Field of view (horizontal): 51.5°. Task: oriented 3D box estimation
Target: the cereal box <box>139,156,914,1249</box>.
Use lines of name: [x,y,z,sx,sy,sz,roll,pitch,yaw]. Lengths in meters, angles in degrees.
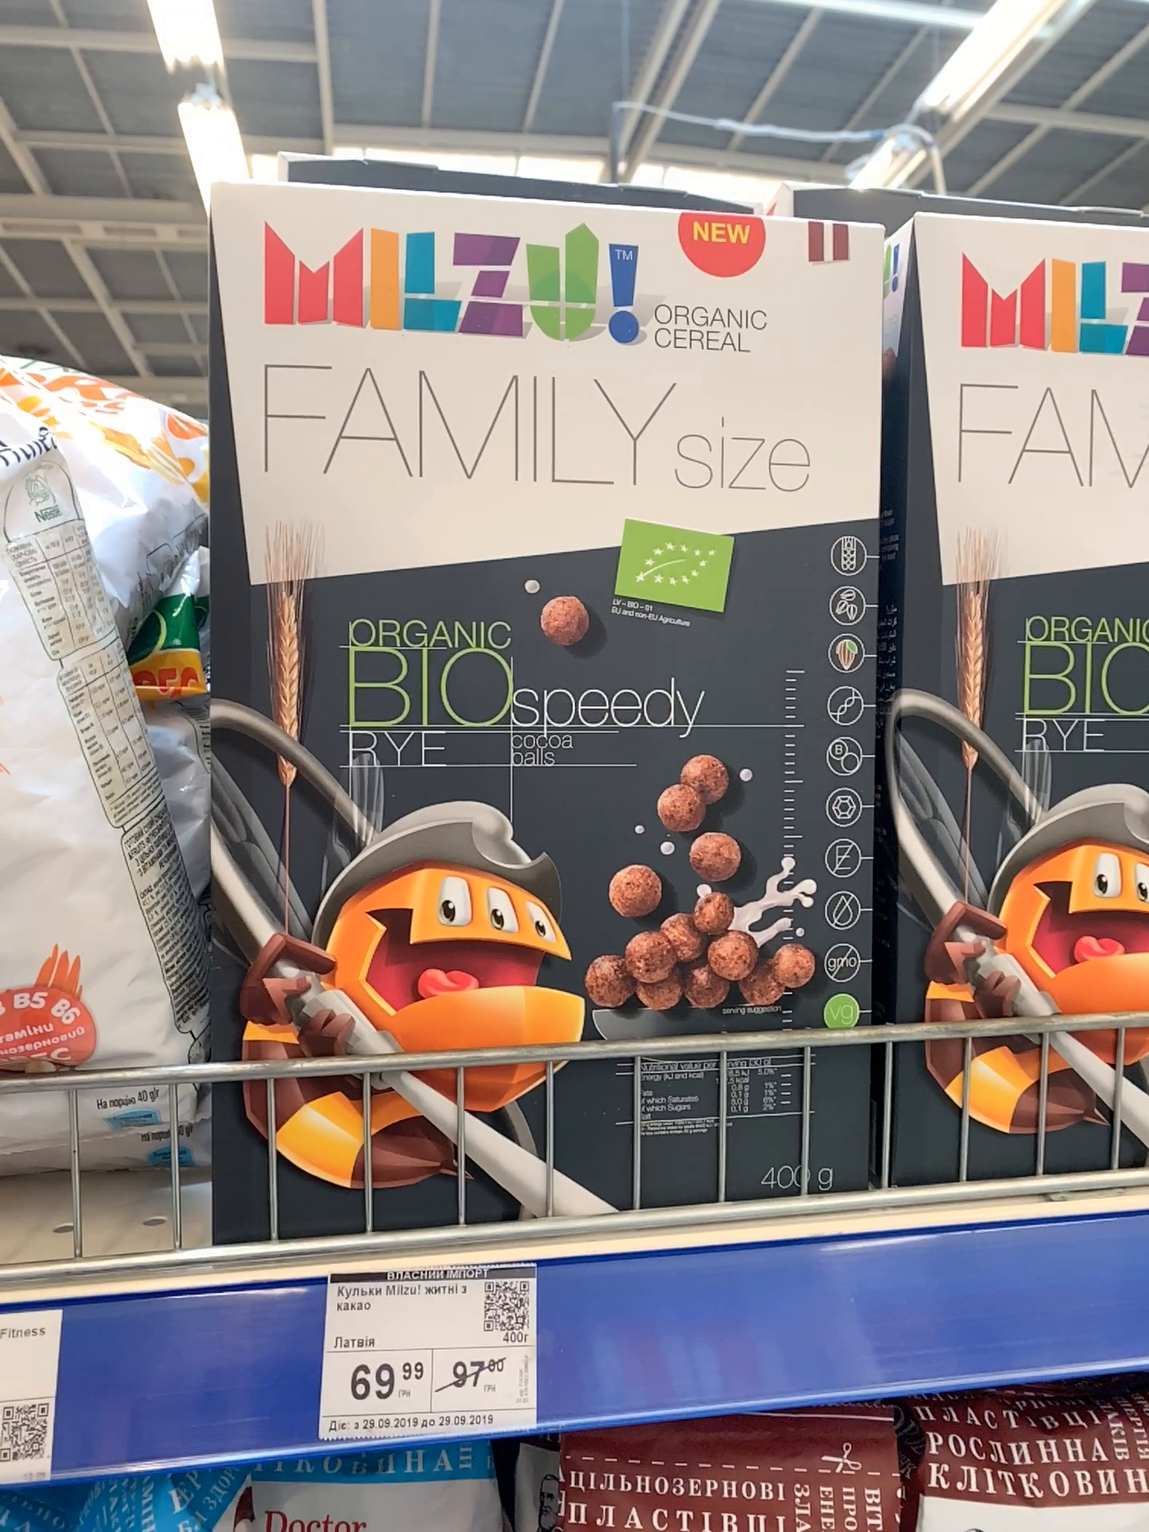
cereal box: [-0.015,-0.016,0.352,0.200,0.270,0.080,0,4,-11]
